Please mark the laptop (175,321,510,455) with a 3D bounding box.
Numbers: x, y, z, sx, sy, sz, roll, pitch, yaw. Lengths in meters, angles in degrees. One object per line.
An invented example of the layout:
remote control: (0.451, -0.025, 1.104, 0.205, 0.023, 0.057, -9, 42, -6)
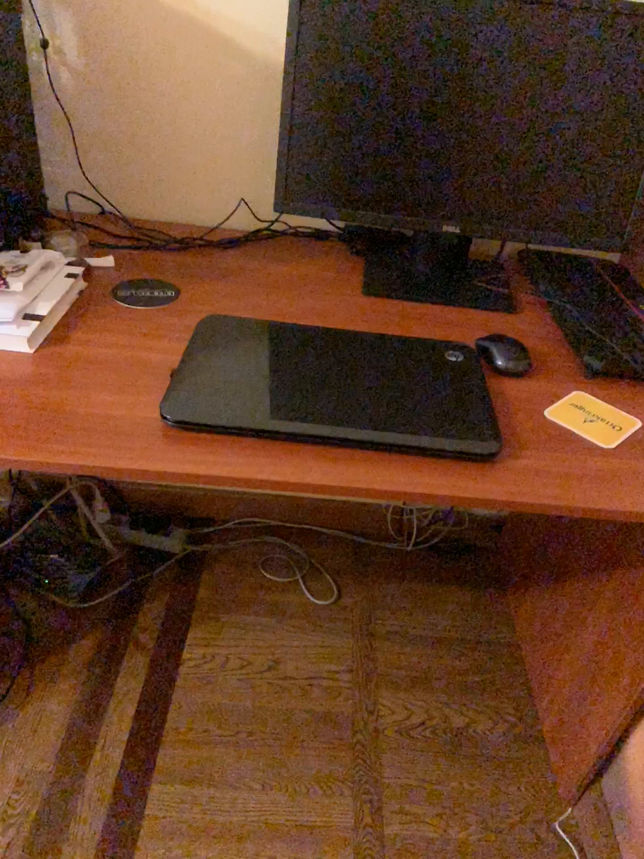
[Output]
laptop: (0.027, -0.063, 0.835, 0.381, 0.001, 0.244, 6, 36, 0)
